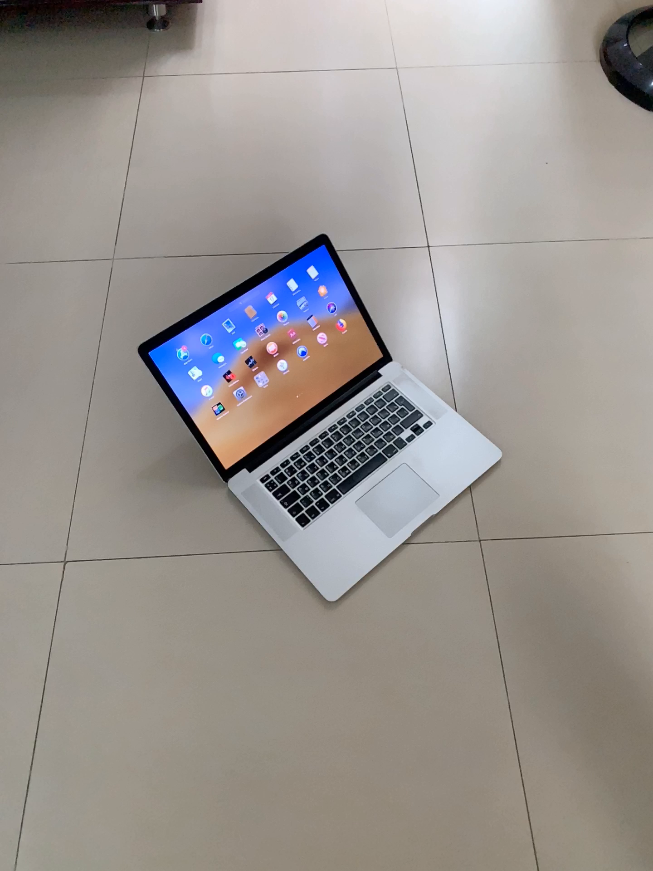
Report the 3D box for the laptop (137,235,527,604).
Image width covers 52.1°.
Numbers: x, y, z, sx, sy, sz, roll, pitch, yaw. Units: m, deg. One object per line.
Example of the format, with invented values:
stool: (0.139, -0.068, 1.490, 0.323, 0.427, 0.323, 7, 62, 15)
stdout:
laptop: (0.002, -0.045, 0.985, 0.353, 0.163, 0.415, -37, 65, -20)
